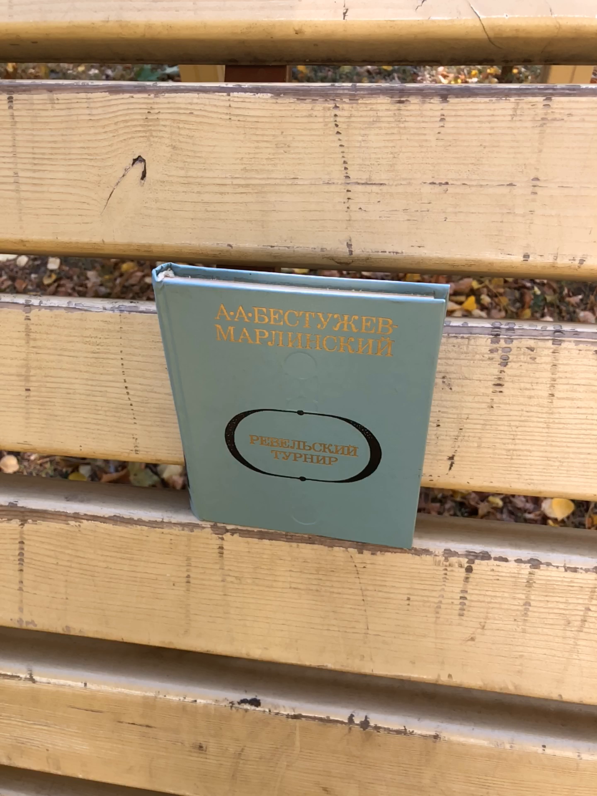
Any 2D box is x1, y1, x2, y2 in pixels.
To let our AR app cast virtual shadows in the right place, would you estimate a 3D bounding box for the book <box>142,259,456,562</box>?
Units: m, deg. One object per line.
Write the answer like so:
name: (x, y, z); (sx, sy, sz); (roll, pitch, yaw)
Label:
book: (0.002, 0.014, 0.351); (0.140, 0.169, 0.022); (7, 41, 13)
